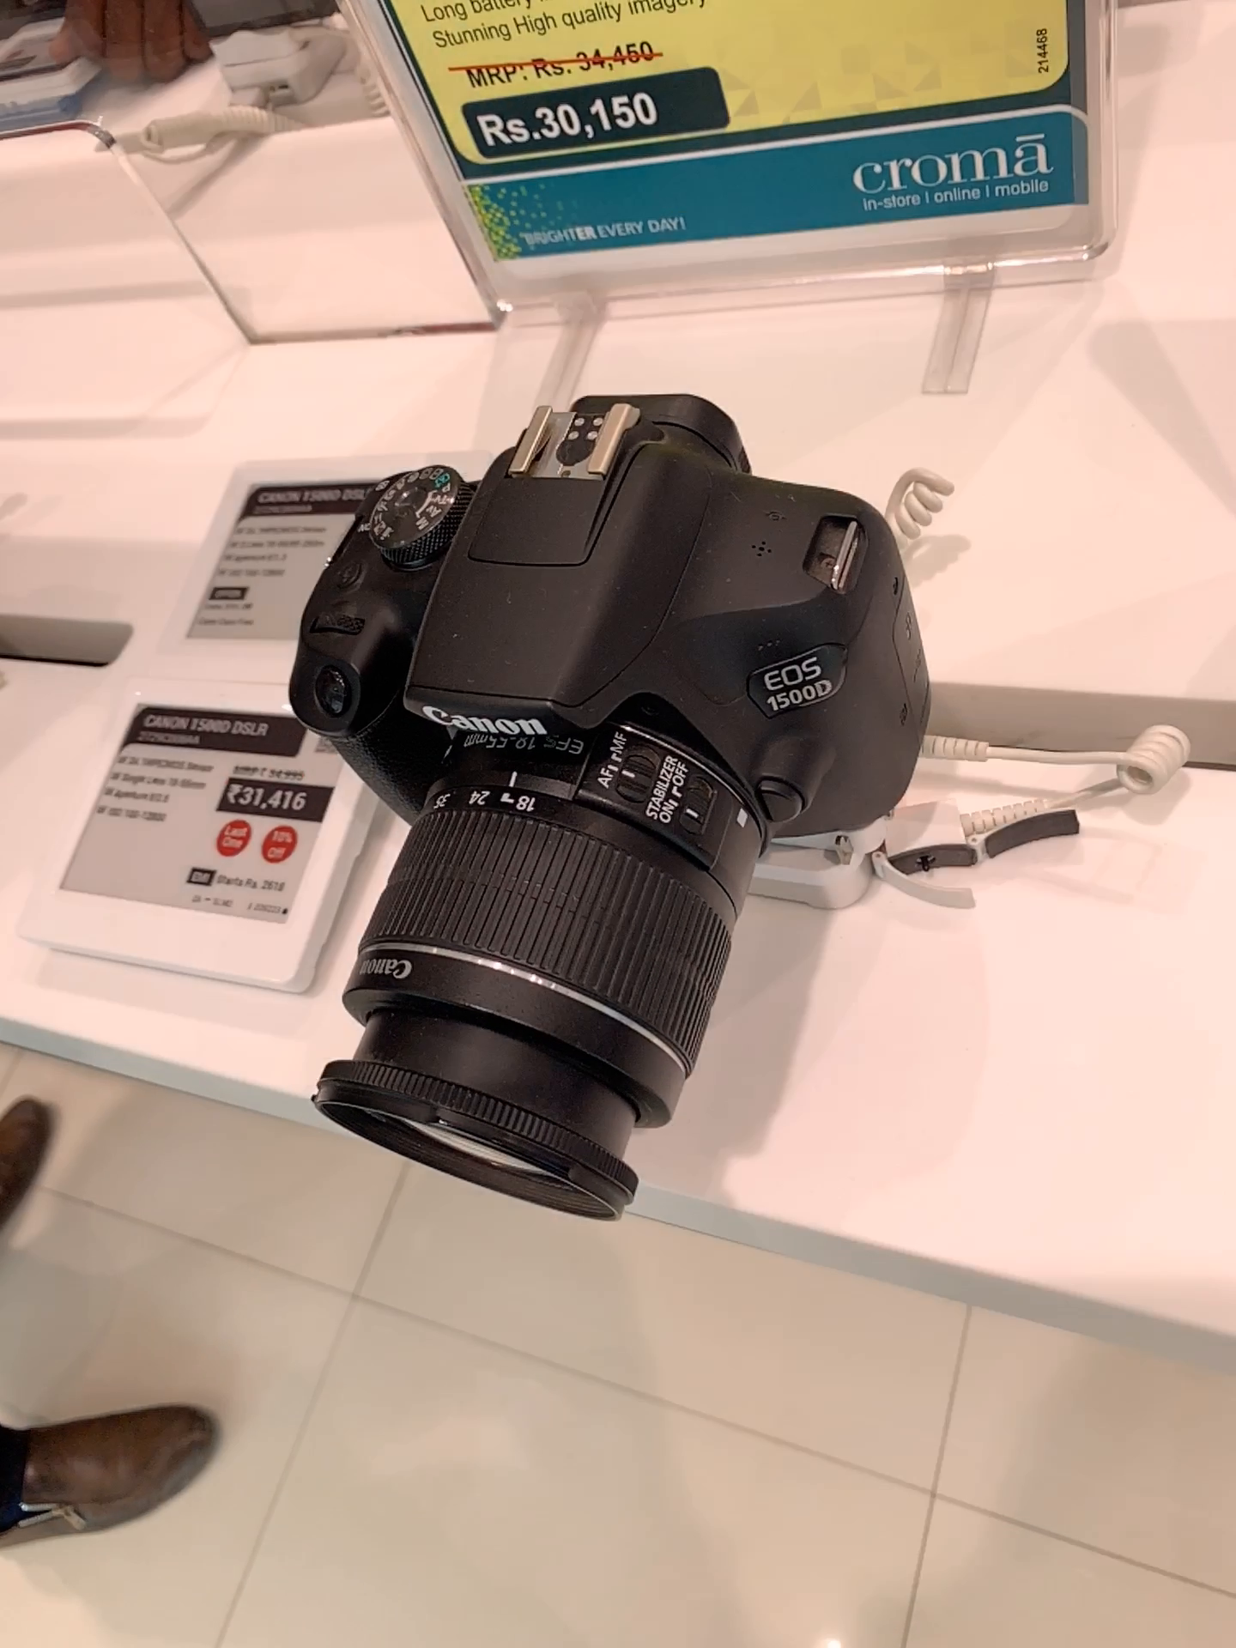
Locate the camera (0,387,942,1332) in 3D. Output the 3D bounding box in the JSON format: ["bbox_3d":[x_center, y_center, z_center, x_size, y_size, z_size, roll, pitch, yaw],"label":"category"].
[{"bbox_3d":[-0.015,0.002,0.235,0.110,0.090,0.130,8,63,26],"label":"camera"}]
